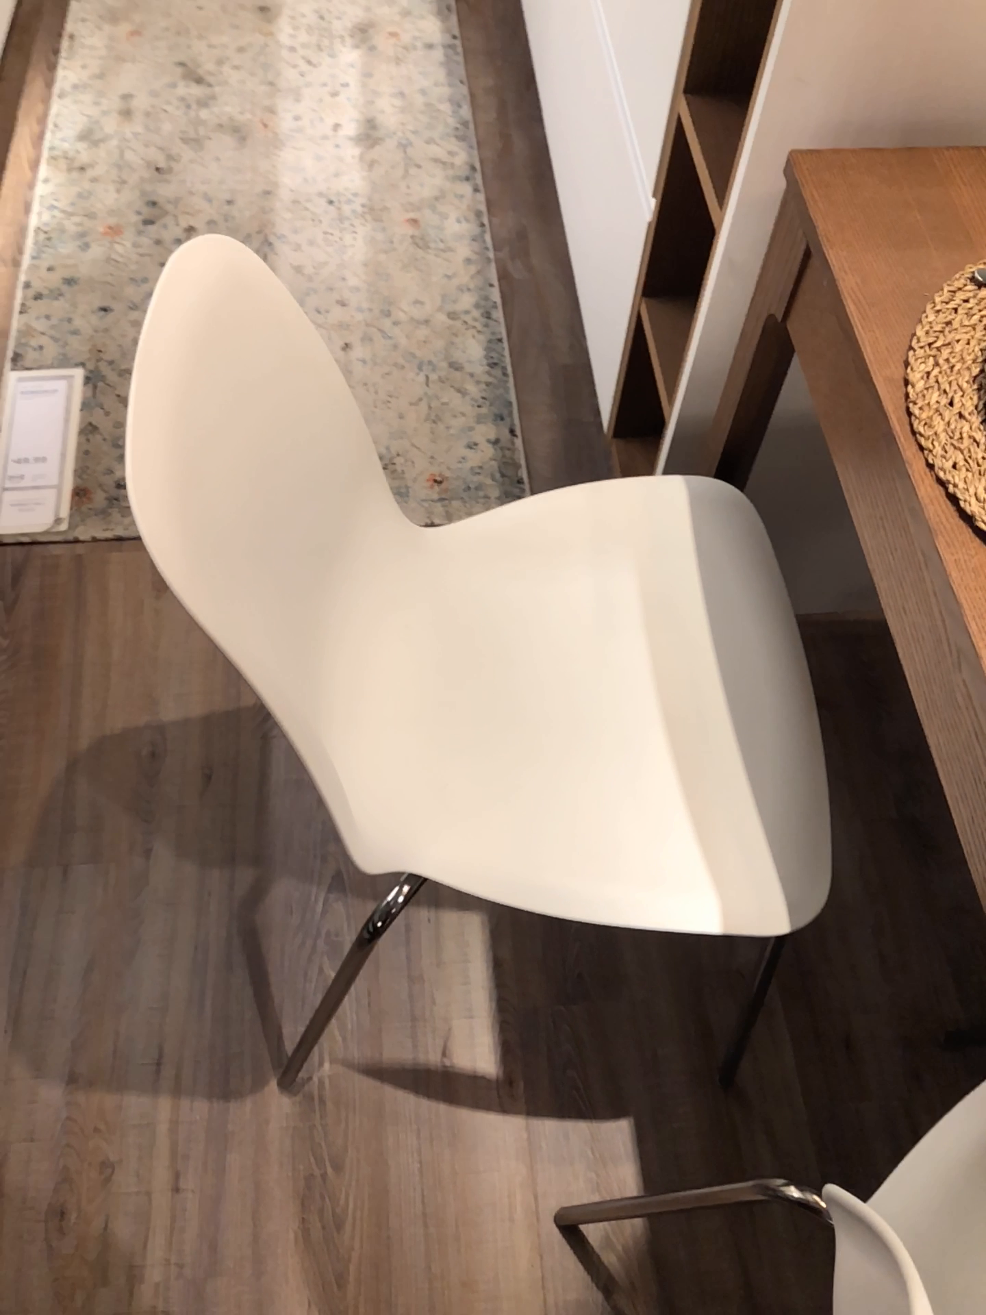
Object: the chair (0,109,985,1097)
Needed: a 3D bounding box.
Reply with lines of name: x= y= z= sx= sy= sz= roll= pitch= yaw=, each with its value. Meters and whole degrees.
chair: x=0.011 y=0.028 z=0.940 sx=0.530 sy=0.707 sz=0.542 roll=1 pitch=58 yaw=-3
